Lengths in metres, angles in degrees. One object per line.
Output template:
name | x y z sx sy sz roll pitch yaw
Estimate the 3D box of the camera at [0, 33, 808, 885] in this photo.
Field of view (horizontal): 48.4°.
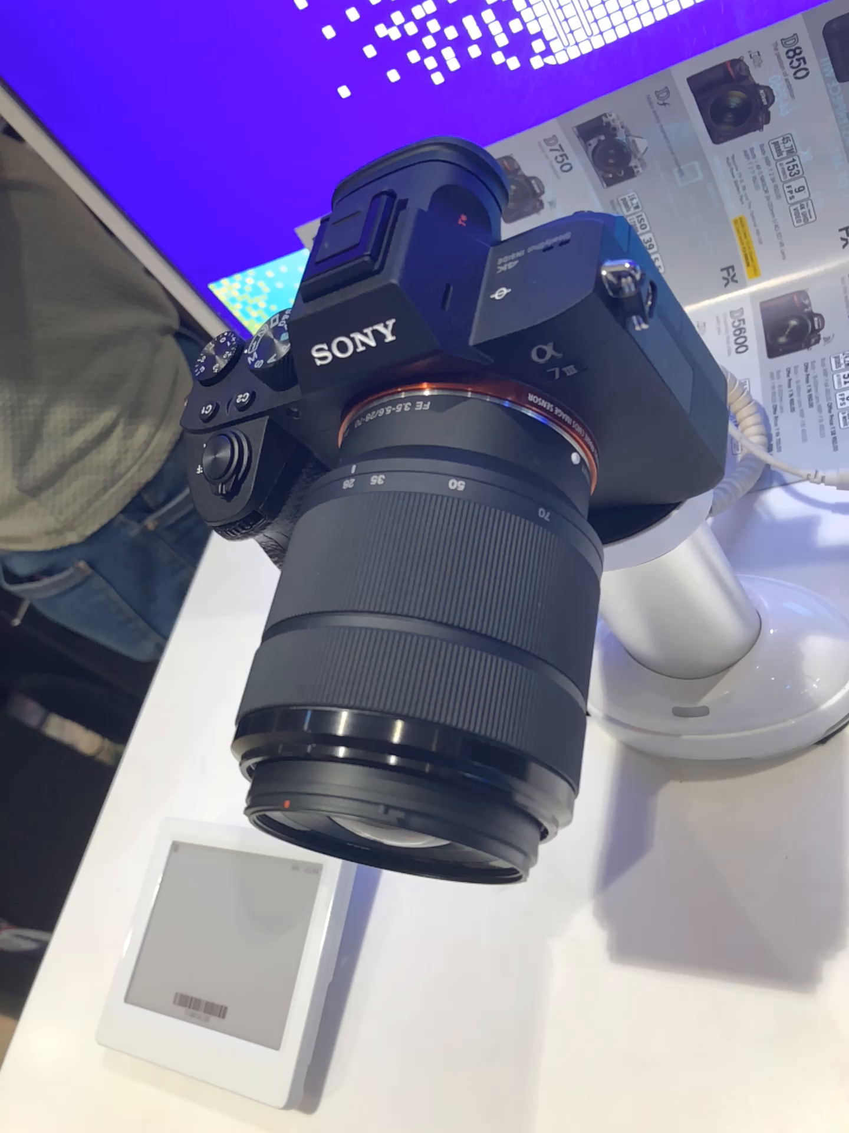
camera | 0.008 -0.010 0.214 0.120 0.109 0.128 -10 53 30
